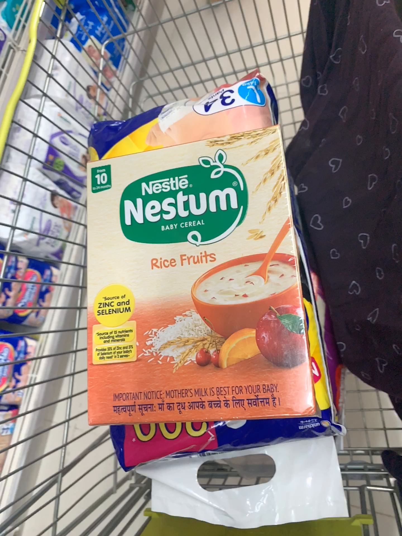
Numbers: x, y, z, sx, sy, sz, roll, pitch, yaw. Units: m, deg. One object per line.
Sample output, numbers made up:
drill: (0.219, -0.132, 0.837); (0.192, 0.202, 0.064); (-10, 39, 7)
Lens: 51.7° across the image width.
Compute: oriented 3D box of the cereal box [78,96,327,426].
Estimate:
cereal box: (-0.006, -0.002, 0.305); (0.160, 0.050, 0.210); (-7, 77, 14)
